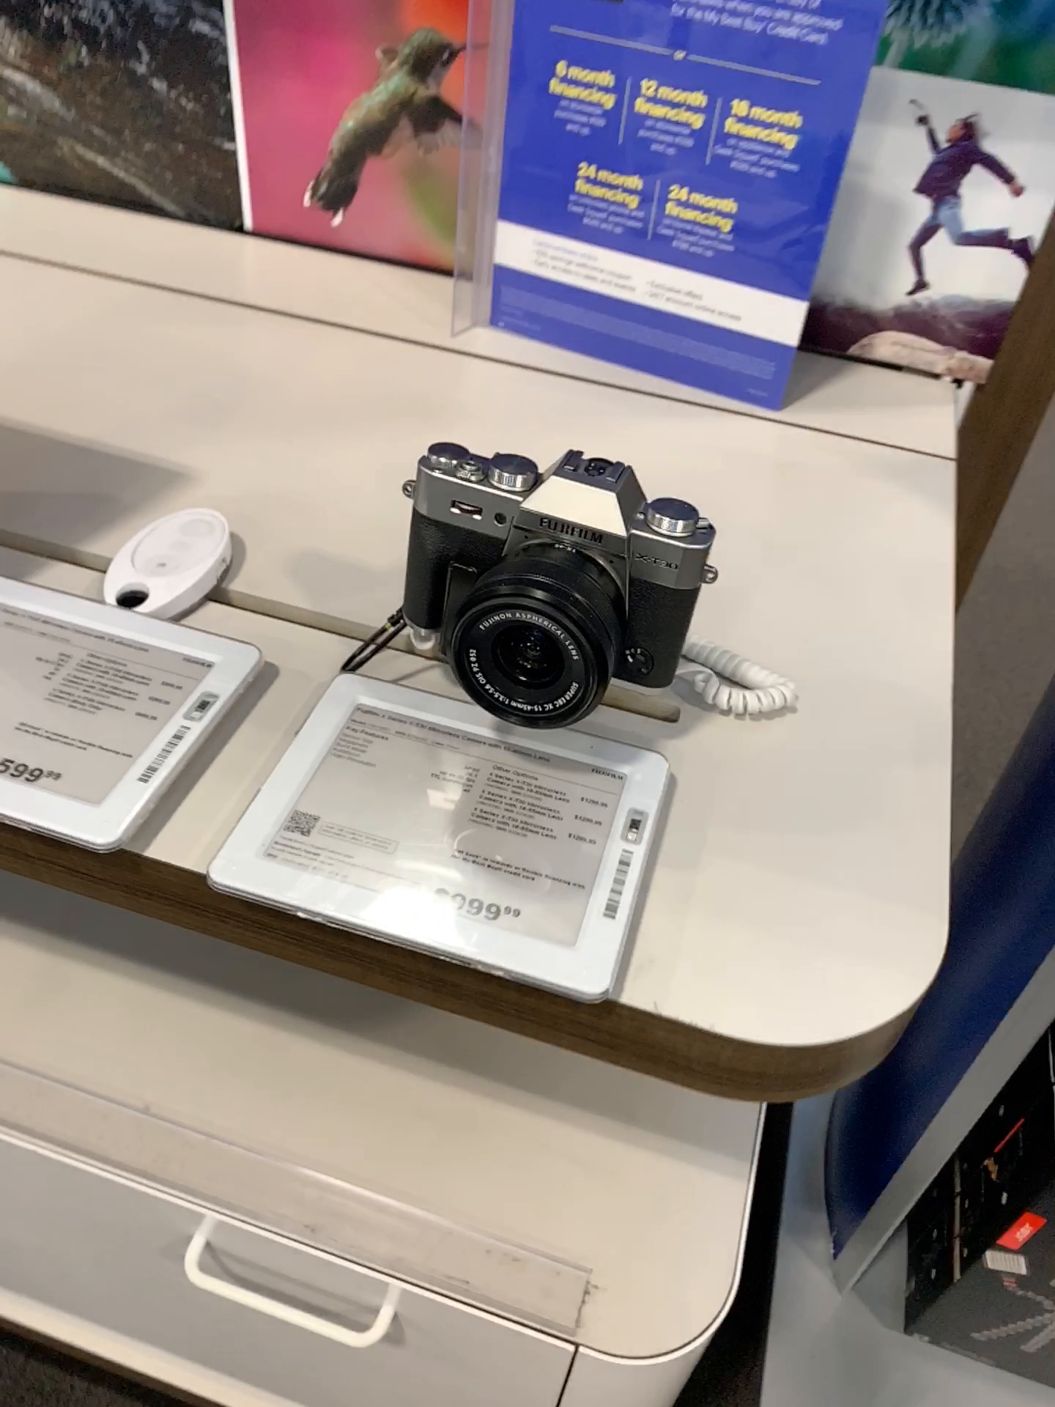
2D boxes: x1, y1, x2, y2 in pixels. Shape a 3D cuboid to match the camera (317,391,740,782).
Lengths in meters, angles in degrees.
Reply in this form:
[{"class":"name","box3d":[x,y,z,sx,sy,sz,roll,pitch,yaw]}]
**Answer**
[{"class":"camera","box3d":[0.002,-0.049,0.425,0.130,0.080,0.100,16,44,10]}]
